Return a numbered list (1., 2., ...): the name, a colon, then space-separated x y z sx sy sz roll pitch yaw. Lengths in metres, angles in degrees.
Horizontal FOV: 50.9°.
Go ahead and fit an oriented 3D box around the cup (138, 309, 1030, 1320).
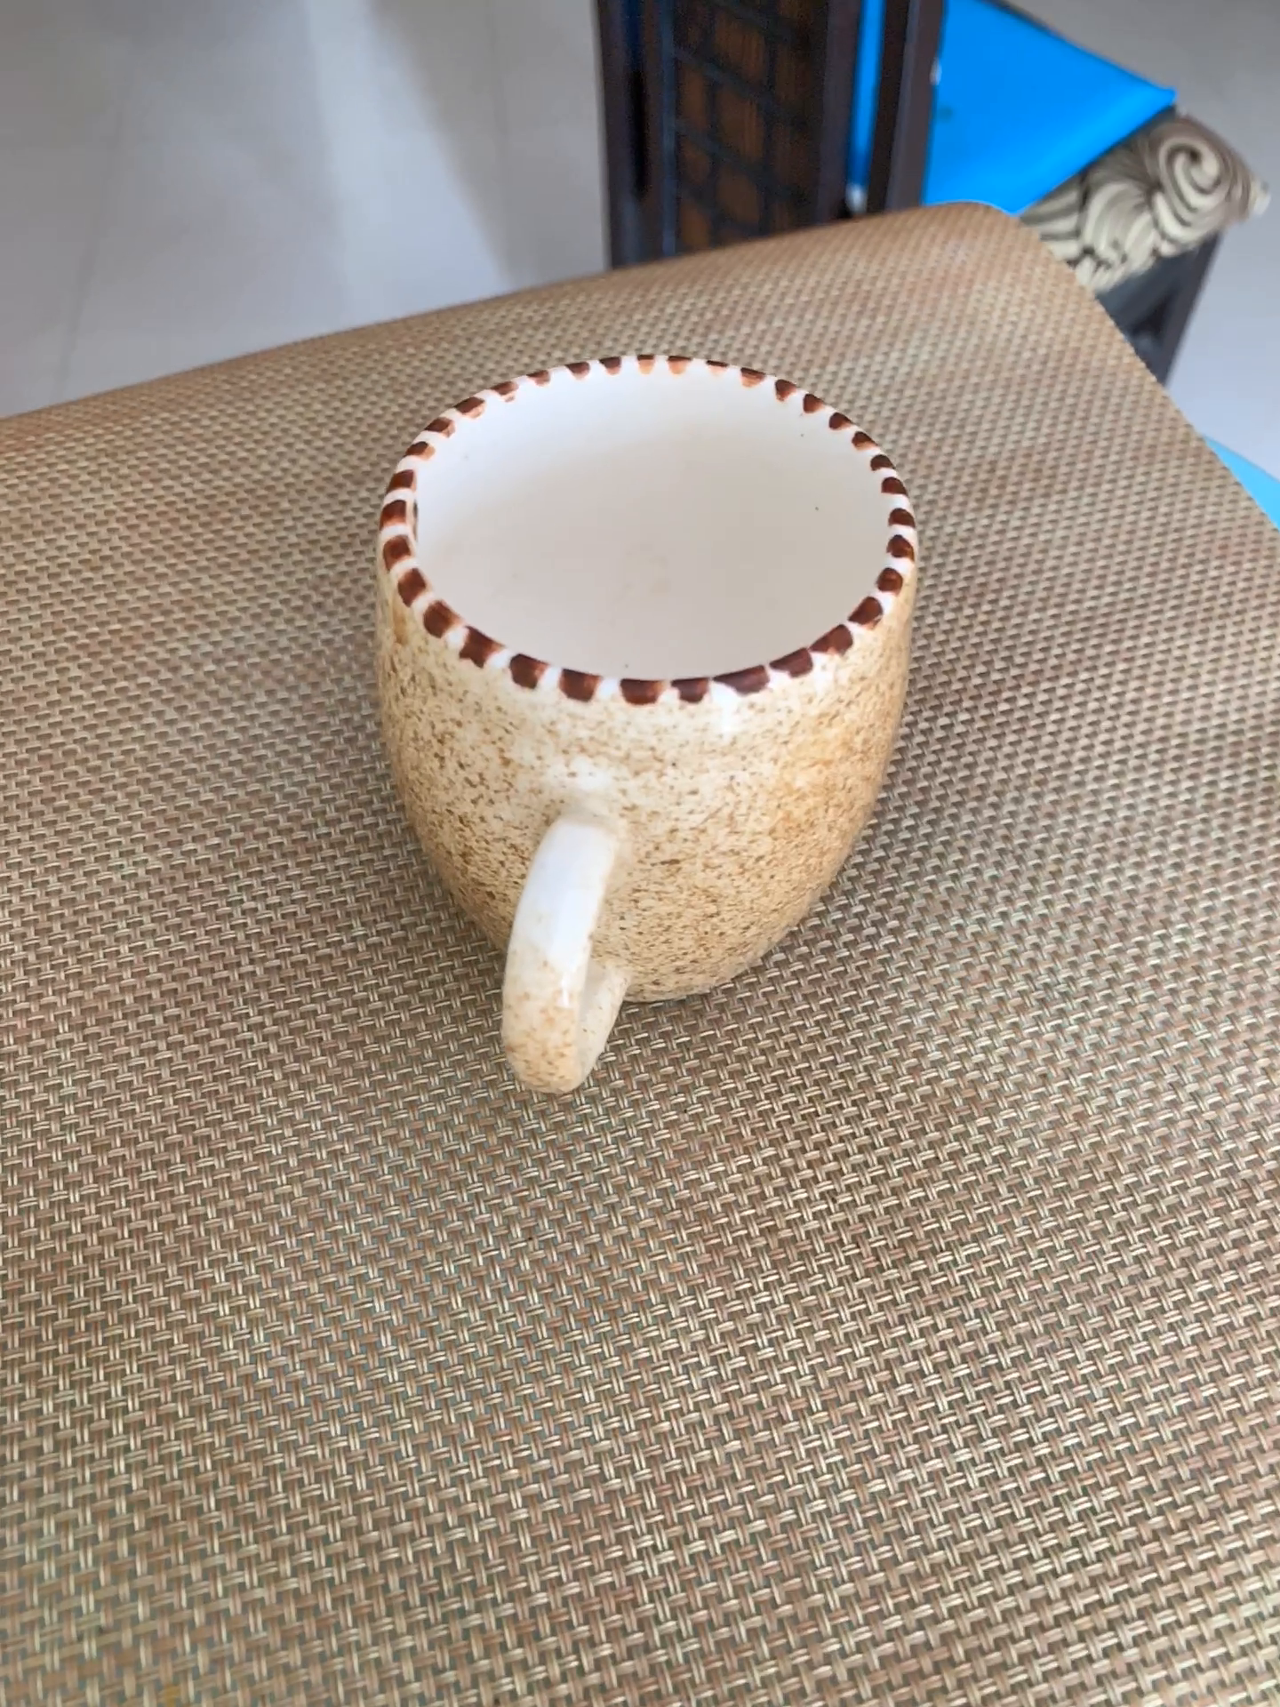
1. cup: 0.000 -0.006 0.169 0.070 0.070 0.091 13 55 8
